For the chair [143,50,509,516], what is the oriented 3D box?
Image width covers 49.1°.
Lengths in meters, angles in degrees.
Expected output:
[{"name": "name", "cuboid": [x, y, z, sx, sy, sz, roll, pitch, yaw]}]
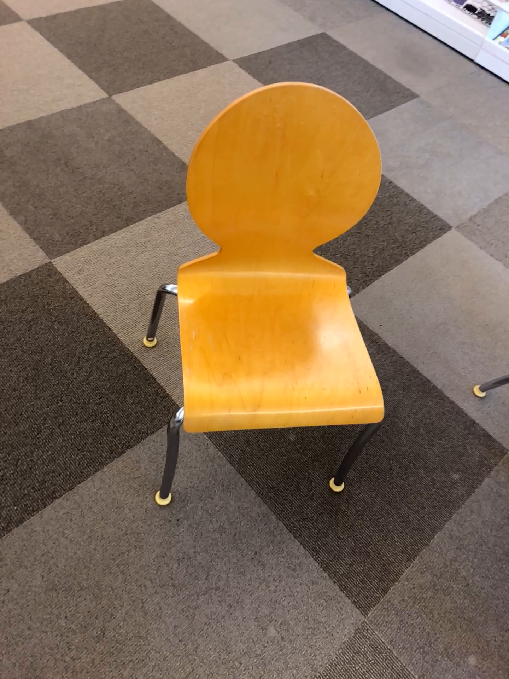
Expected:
[{"name": "chair", "cuboid": [0.034, -0.040, 1.054, 0.465, 0.723, 0.471, 0, 54, -12]}]
